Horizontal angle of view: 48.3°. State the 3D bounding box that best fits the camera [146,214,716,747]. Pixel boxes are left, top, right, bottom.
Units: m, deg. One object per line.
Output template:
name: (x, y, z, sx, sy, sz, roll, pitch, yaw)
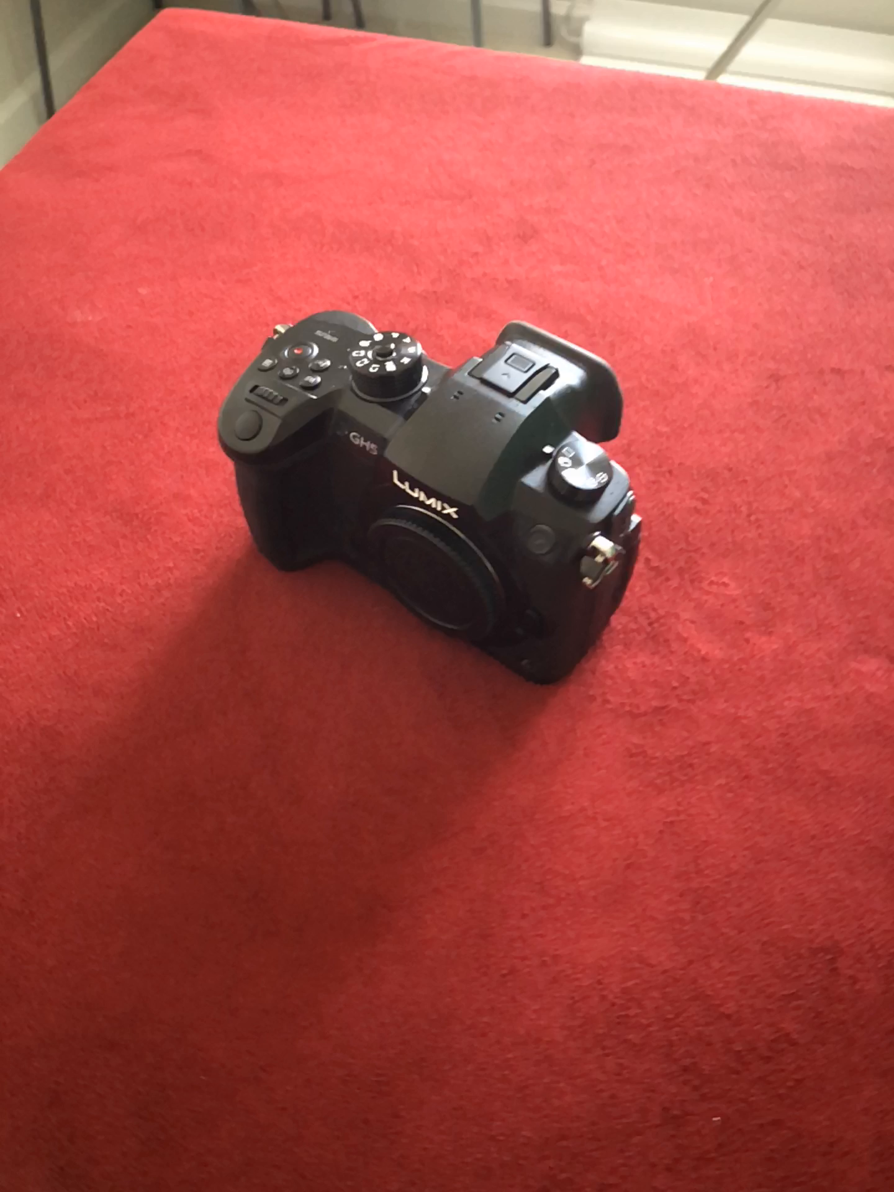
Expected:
camera: (-0.007, -0.041, 0.330, 0.148, 0.087, 0.085, 32, 61, 22)
